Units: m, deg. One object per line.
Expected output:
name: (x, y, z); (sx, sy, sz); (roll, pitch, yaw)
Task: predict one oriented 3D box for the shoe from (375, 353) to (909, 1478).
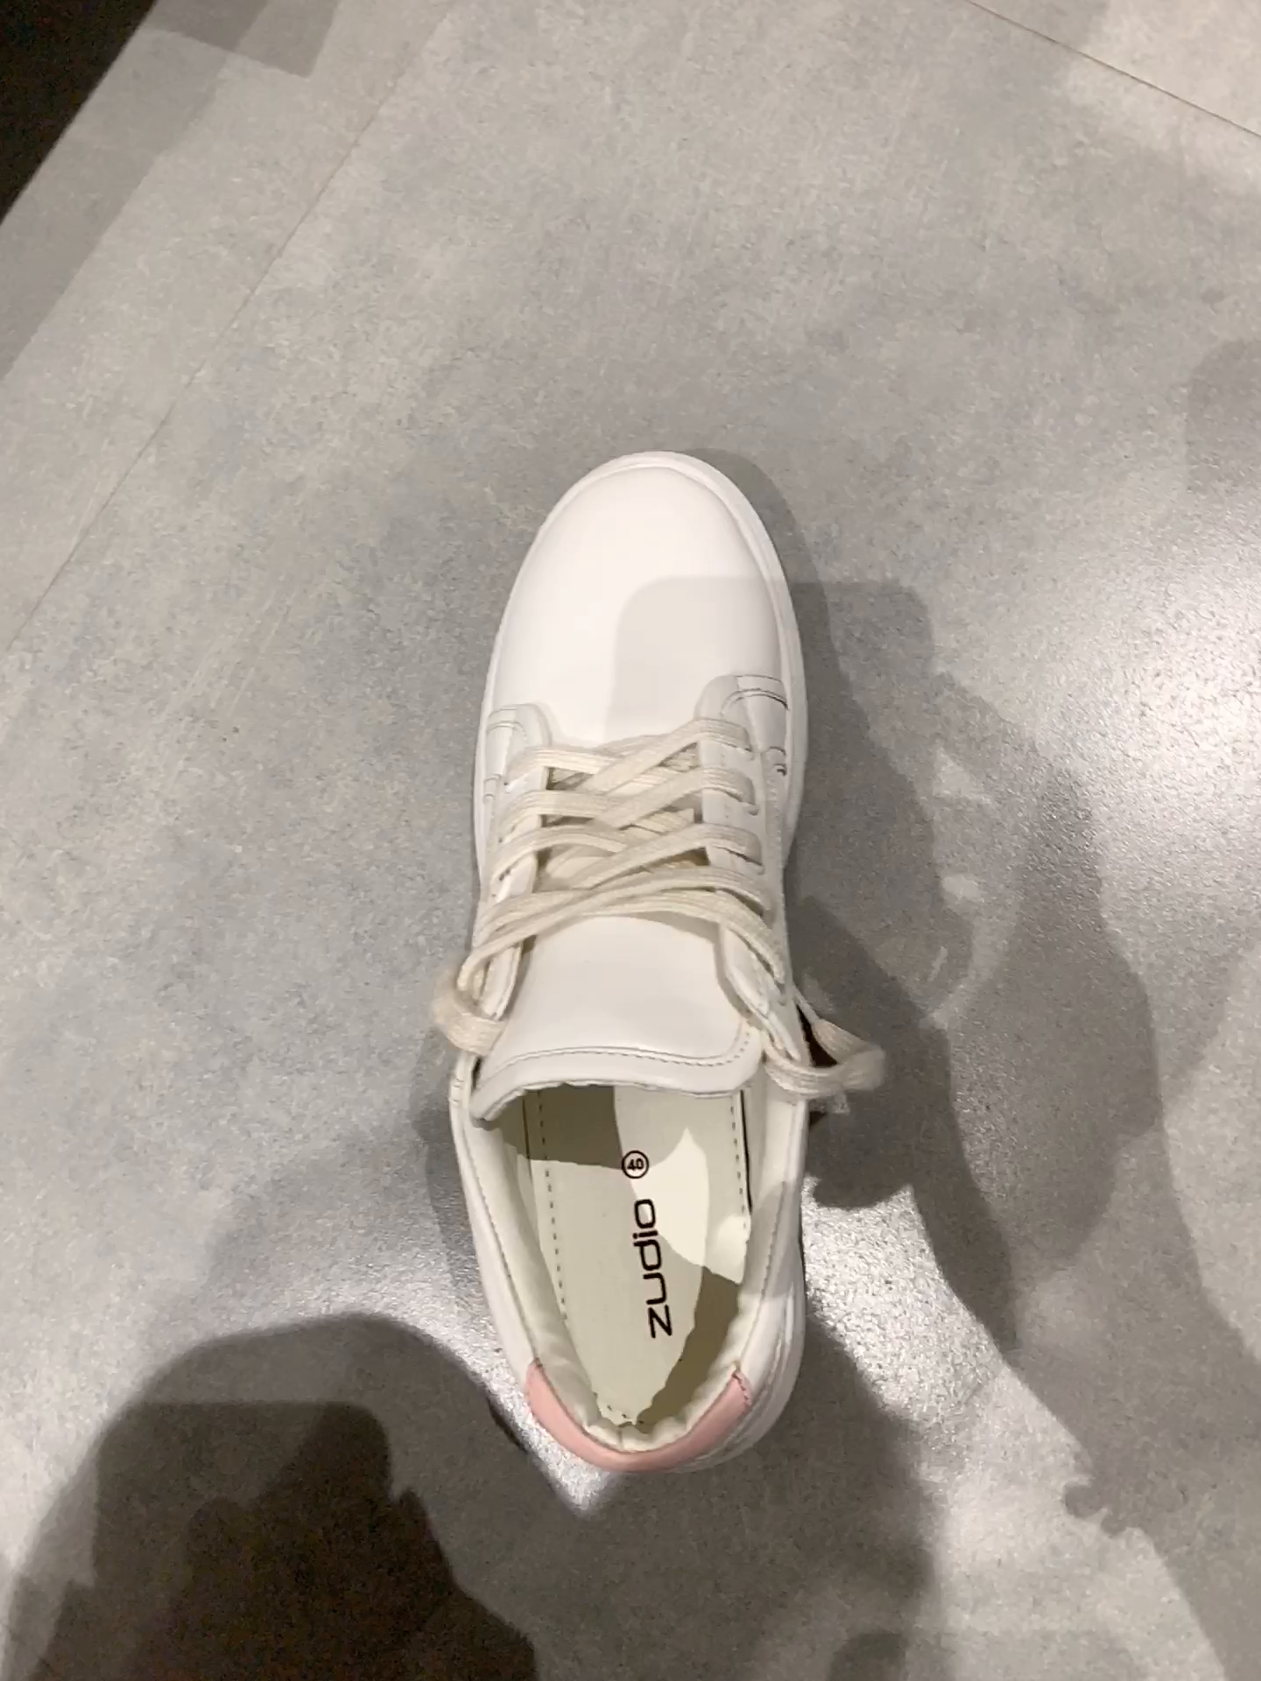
shoe: (0.004, 0.019, 0.342); (0.110, 0.100, 0.250); (-5, 78, 9)
